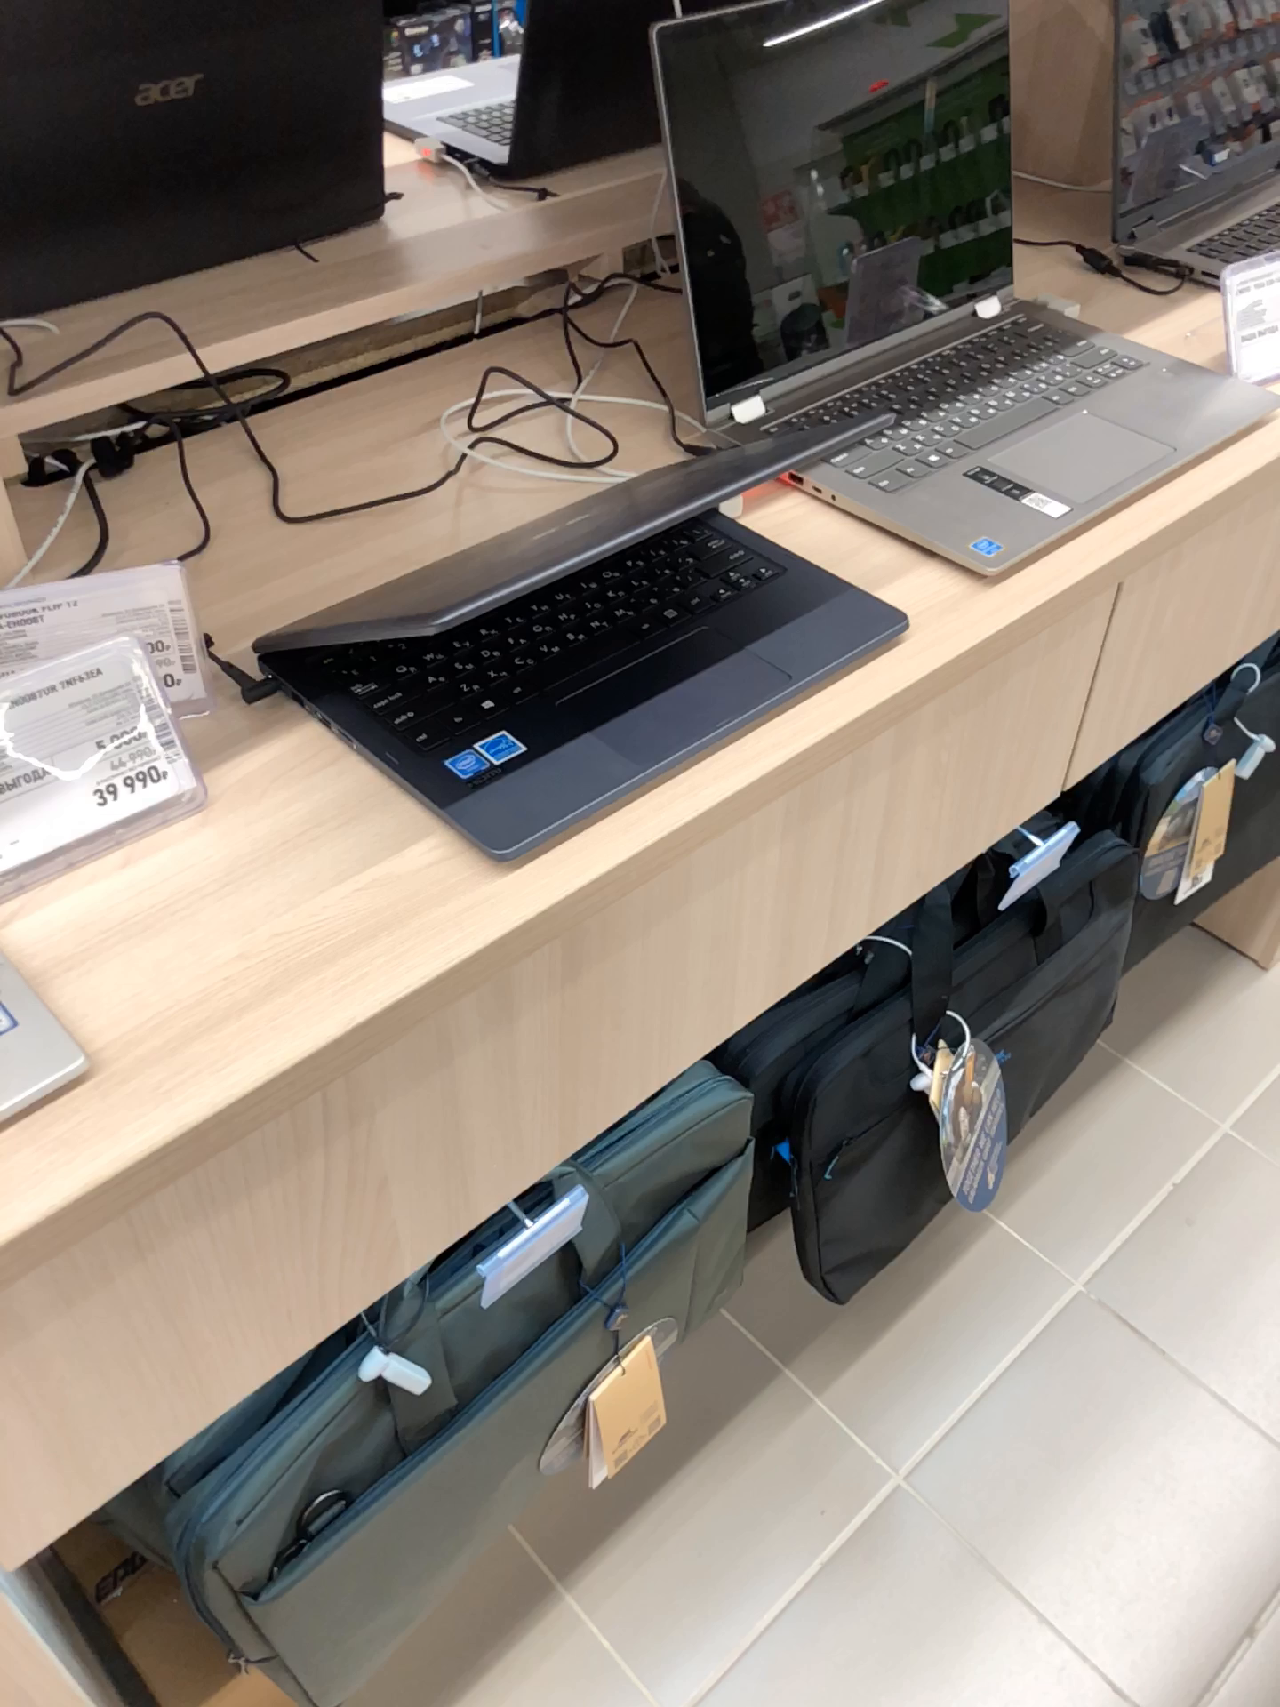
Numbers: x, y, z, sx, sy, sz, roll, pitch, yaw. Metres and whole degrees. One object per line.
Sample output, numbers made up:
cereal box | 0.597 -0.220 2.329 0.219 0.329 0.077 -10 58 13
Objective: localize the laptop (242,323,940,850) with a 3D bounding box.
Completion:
laptop | -0.019 -0.146 0.685 0.272 0.097 0.185 -31 52 -31
